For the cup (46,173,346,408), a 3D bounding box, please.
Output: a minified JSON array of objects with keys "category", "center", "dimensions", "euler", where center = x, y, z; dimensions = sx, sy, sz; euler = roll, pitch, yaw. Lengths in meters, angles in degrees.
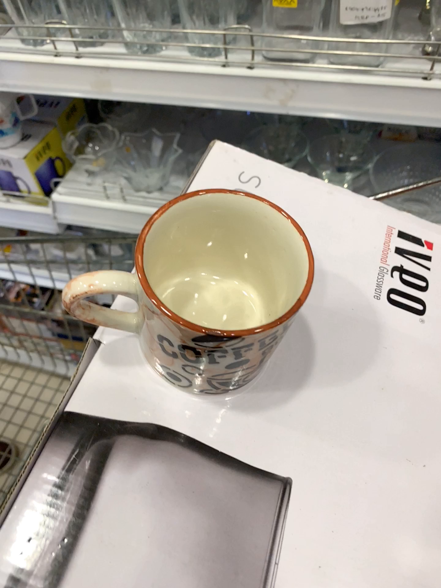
[{"category":"cup","center":[-0.014,-0.001,0.199],"dimensions":[0.100,0.070,0.070],"euler":[-1,53,-10]}]
